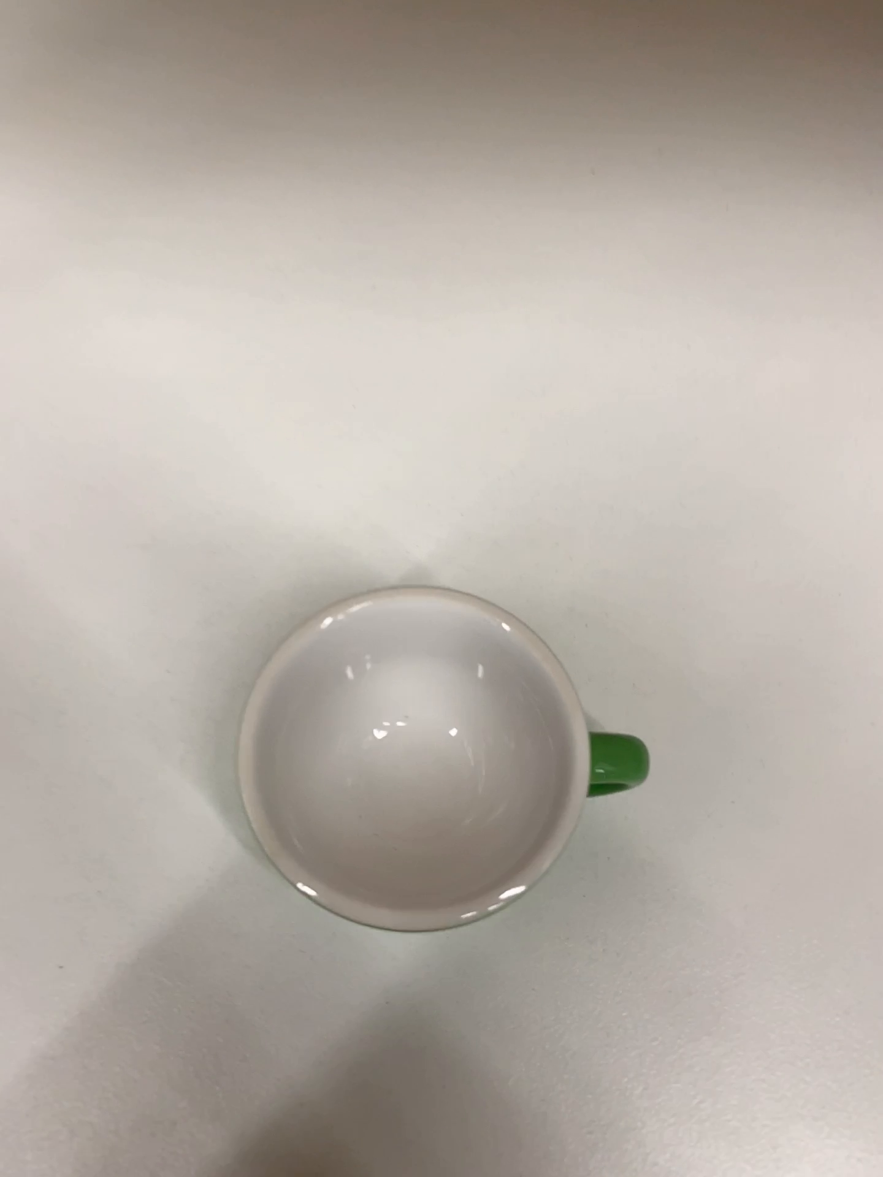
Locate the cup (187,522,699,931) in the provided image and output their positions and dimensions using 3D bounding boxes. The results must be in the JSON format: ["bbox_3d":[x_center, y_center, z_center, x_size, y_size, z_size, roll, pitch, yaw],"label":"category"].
[{"bbox_3d":[0.000,0.025,0.156,0.070,0.040,0.060,0,66,0],"label":"cup"}]
